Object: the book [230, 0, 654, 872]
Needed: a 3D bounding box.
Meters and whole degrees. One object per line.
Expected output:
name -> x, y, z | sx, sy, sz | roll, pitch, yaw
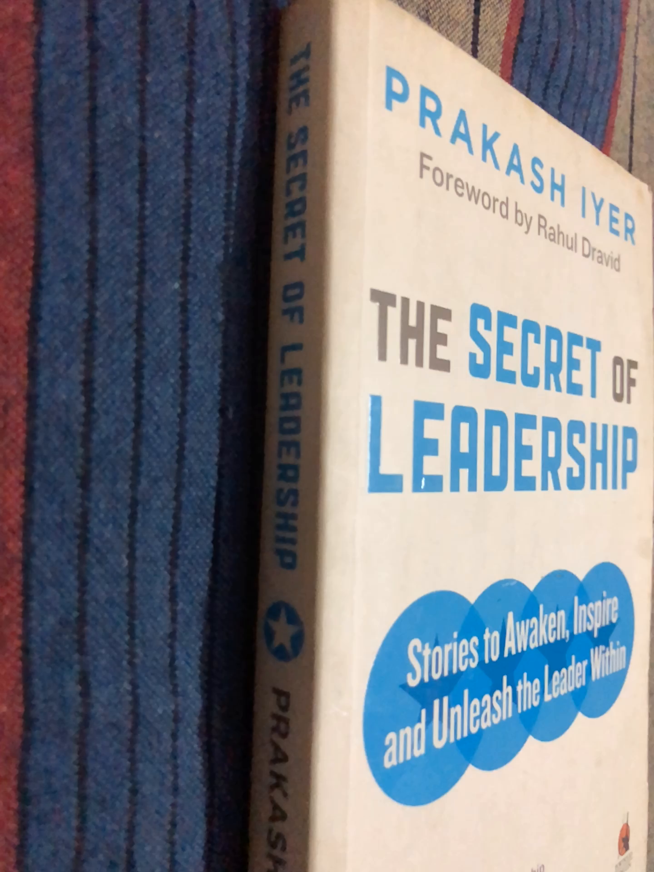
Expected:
book -> 0.044, 0.017, 0.165 | 0.141, 0.030, 0.190 | 3, 86, -47
